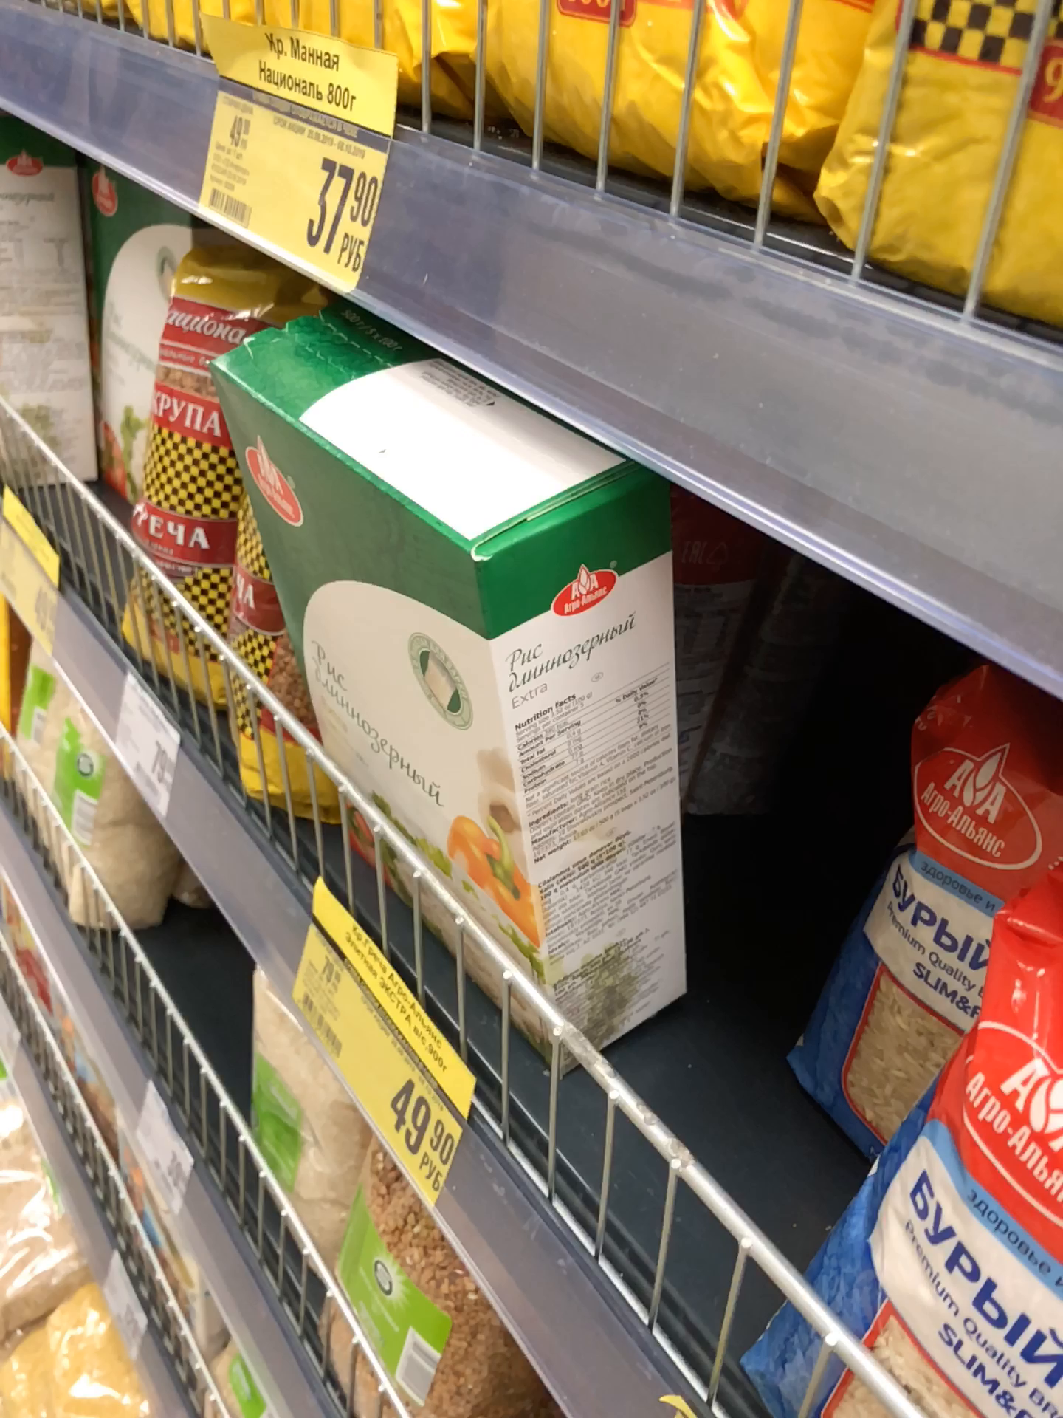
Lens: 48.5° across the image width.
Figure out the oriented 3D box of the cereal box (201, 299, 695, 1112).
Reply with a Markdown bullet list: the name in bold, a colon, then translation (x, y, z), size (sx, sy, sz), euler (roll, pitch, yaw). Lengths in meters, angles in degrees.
- **cereal box**: translation (-0.019, 0.003, 0.359), size (0.050, 0.209, 0.140), euler (-30, 45, -22)
